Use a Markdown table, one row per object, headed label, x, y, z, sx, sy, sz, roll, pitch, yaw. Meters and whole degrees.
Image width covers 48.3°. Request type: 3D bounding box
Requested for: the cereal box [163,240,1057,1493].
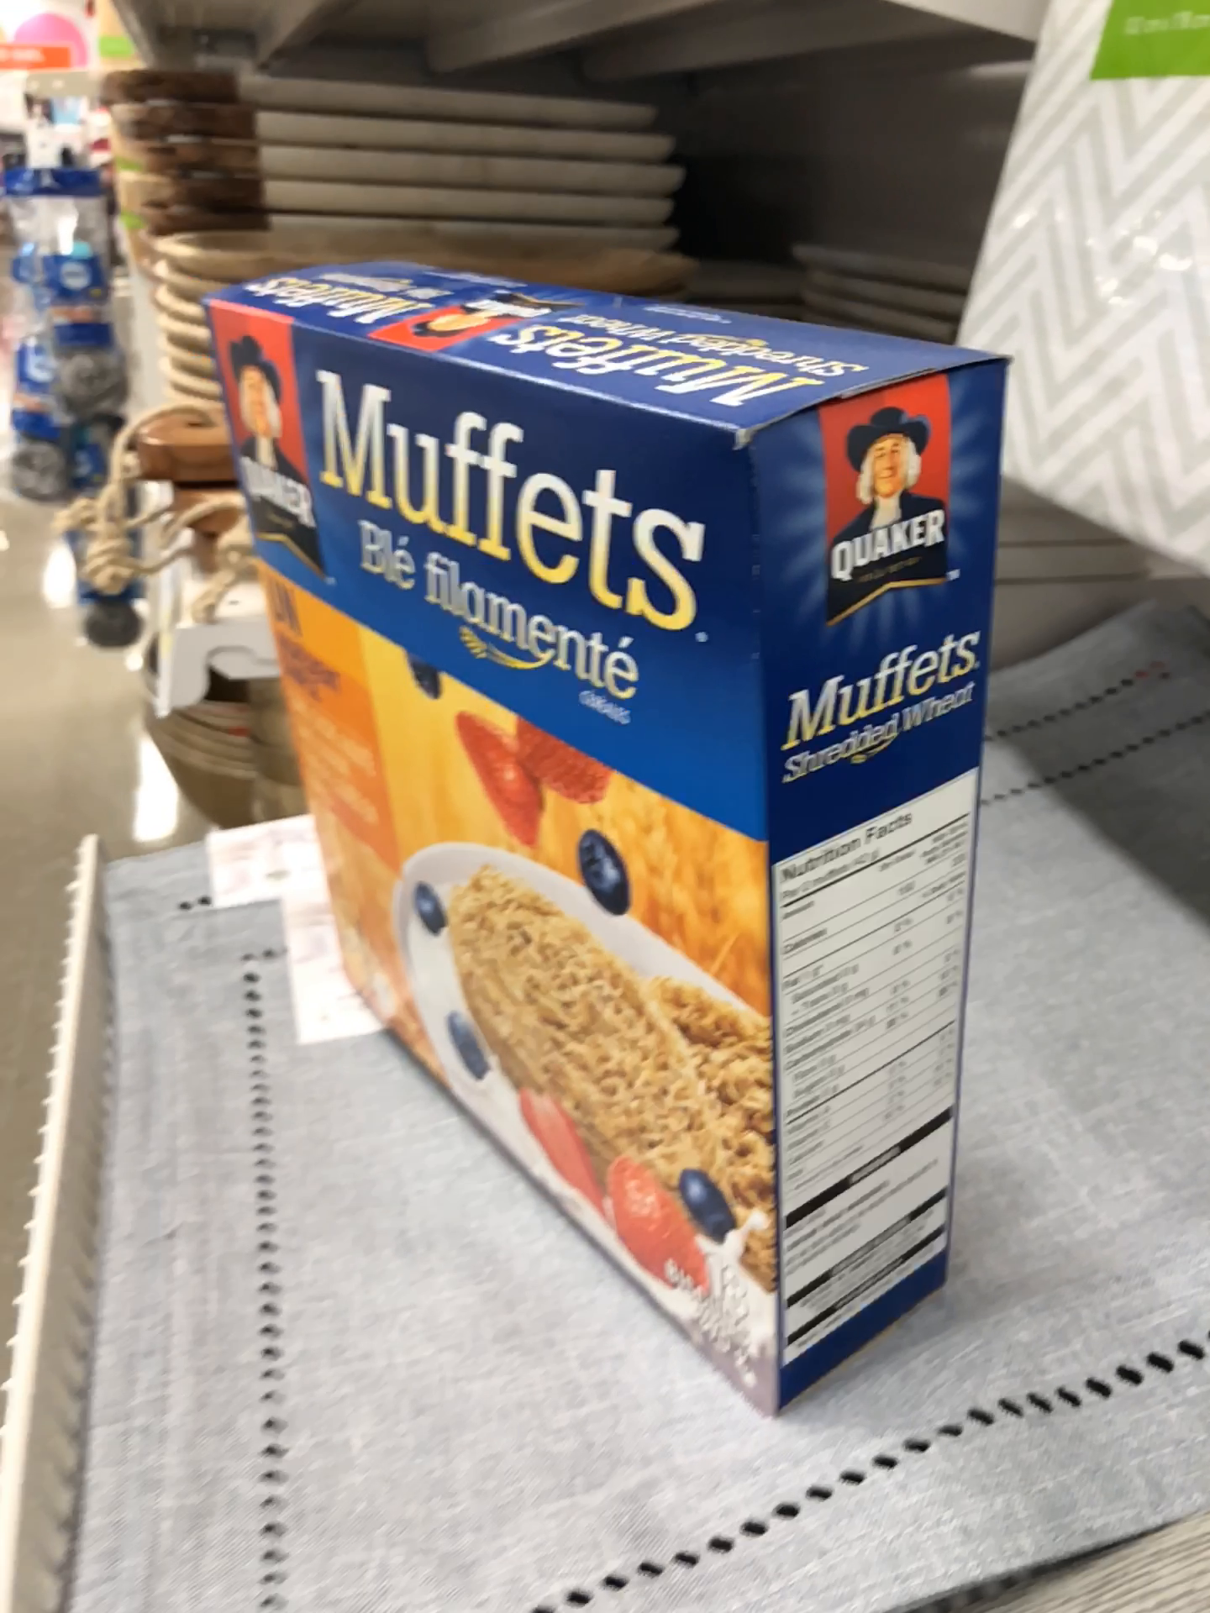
| label | x | y | z | sx | sy | sz | roll | pitch | yaw |
| --- | --- | --- | --- | --- | --- | --- | --- | --- | --- |
| cereal box | -0.017 | -0.009 | 0.341 | 0.060 | 0.229 | 0.251 | -21 | 33 | -27 |
